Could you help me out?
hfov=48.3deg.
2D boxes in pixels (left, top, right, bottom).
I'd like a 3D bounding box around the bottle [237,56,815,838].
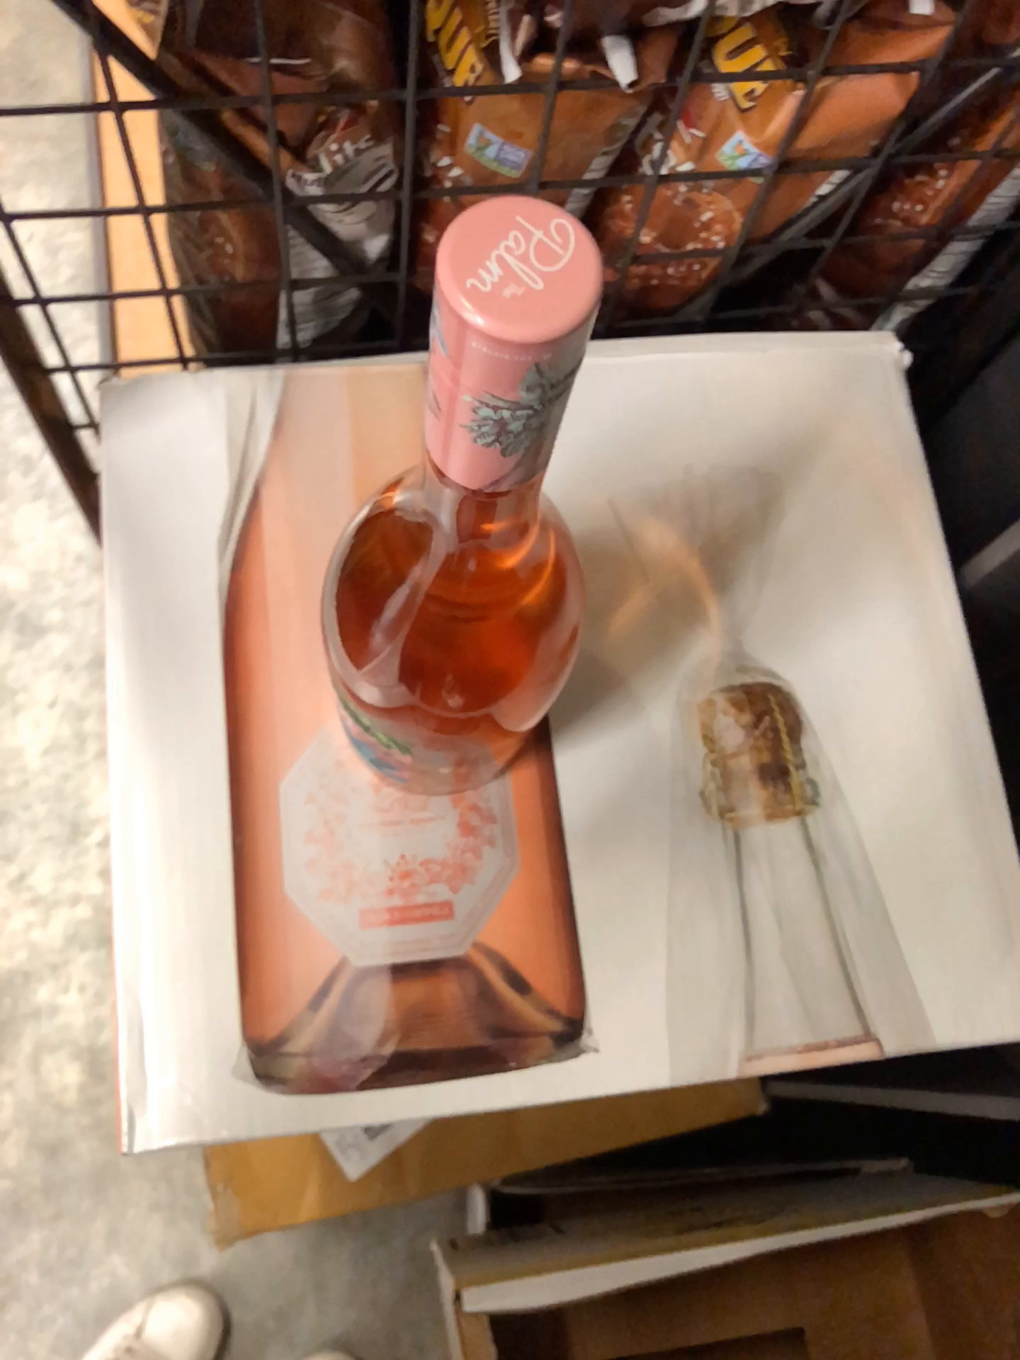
[{"bbox_3d":[-0.016,-0.027,0.329,0.090,0.286,0.087,2,72,-7],"label":"bottle"}]
